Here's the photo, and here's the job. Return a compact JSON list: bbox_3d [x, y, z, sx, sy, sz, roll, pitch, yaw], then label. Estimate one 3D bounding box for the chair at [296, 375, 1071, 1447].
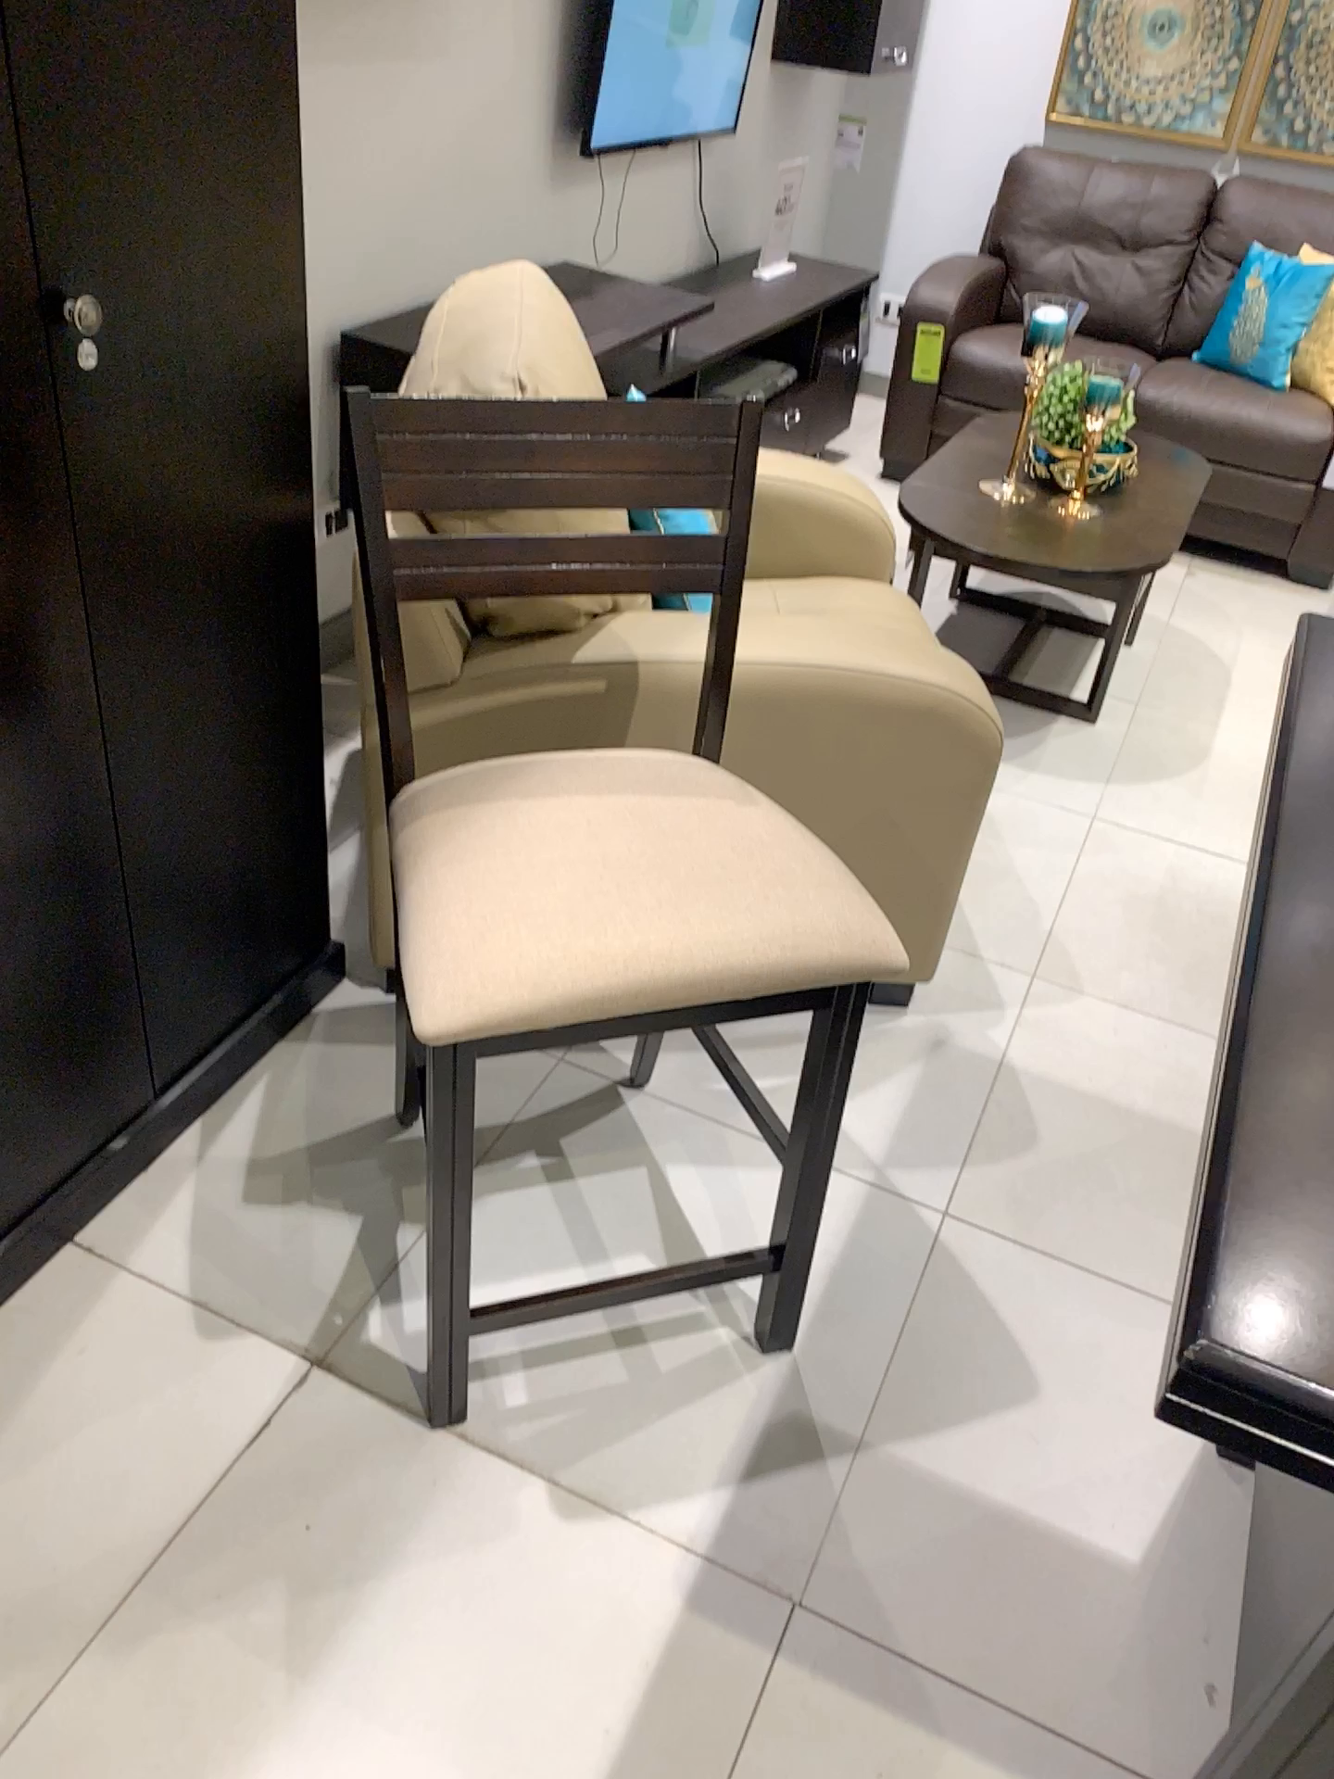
[{"bbox_3d":[-0.074,0.007,1.463,0.520,0.916,0.592,-6,37,-19],"label":"chair"}]
